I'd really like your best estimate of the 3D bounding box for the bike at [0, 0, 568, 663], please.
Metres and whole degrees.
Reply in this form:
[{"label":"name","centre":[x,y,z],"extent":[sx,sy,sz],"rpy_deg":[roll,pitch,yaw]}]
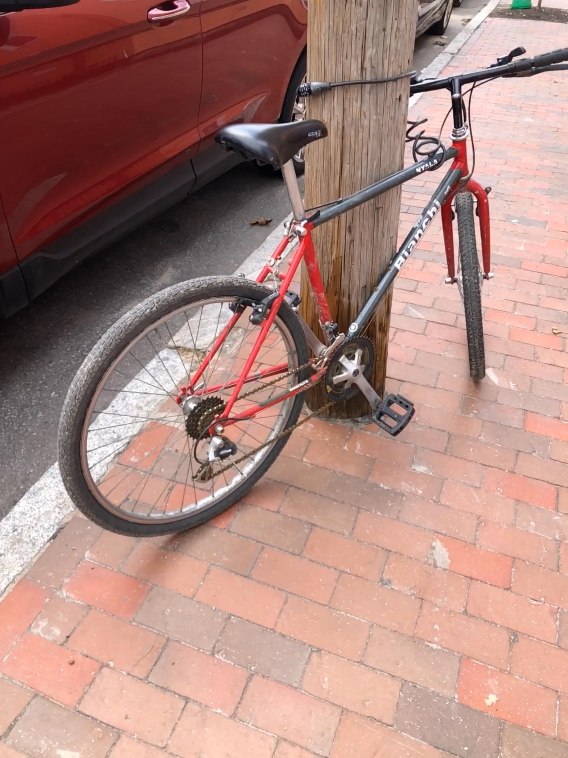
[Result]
[{"label":"bike","centre":[0.105,-0.344,1.540],"extent":[0.581,0.983,1.534],"rpy_deg":[29,46,31]}]
